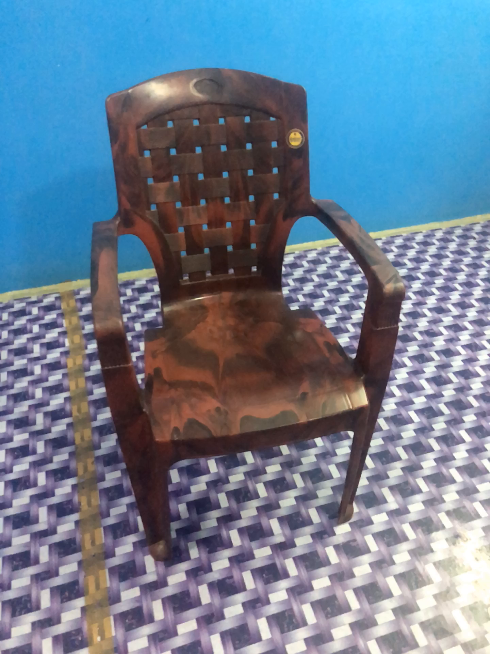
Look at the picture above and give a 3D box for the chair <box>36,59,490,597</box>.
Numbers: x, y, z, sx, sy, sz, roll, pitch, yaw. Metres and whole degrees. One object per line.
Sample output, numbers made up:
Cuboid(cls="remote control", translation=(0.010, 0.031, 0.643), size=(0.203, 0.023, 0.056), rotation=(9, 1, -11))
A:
Cuboid(cls="chair", translation=(-0.004, -0.006, 1.102), size=(0.591, 0.845, 0.593), rotation=(-8, 40, -11))
